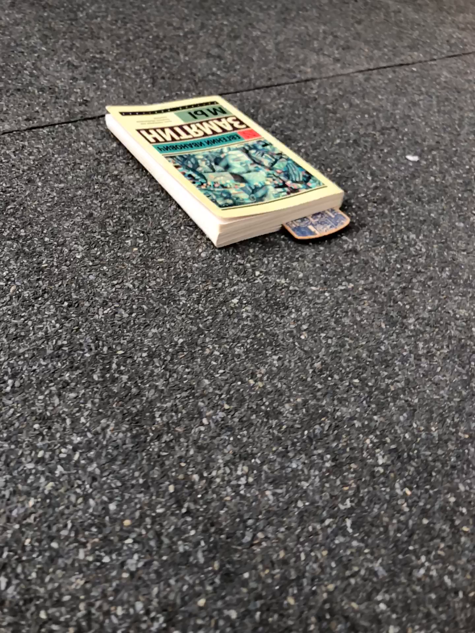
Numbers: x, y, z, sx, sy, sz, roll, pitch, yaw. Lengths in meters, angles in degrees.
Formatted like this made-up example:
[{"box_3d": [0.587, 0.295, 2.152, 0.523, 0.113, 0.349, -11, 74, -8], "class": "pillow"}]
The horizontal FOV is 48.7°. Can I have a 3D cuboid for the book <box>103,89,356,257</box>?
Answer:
[{"box_3d": [-0.013, -0.126, 0.422, 0.120, 0.026, 0.181, -21, 52, -28], "class": "book"}]
